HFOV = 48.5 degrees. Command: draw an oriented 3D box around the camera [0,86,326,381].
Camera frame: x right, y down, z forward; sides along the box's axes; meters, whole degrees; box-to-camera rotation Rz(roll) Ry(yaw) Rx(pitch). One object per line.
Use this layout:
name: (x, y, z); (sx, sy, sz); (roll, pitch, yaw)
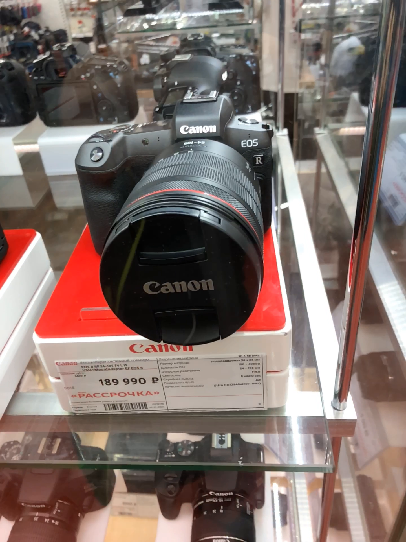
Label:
camera: (-0.010, -0.037, 0.295); (0.140, 0.110, 0.184); (-1, 35, 6)
